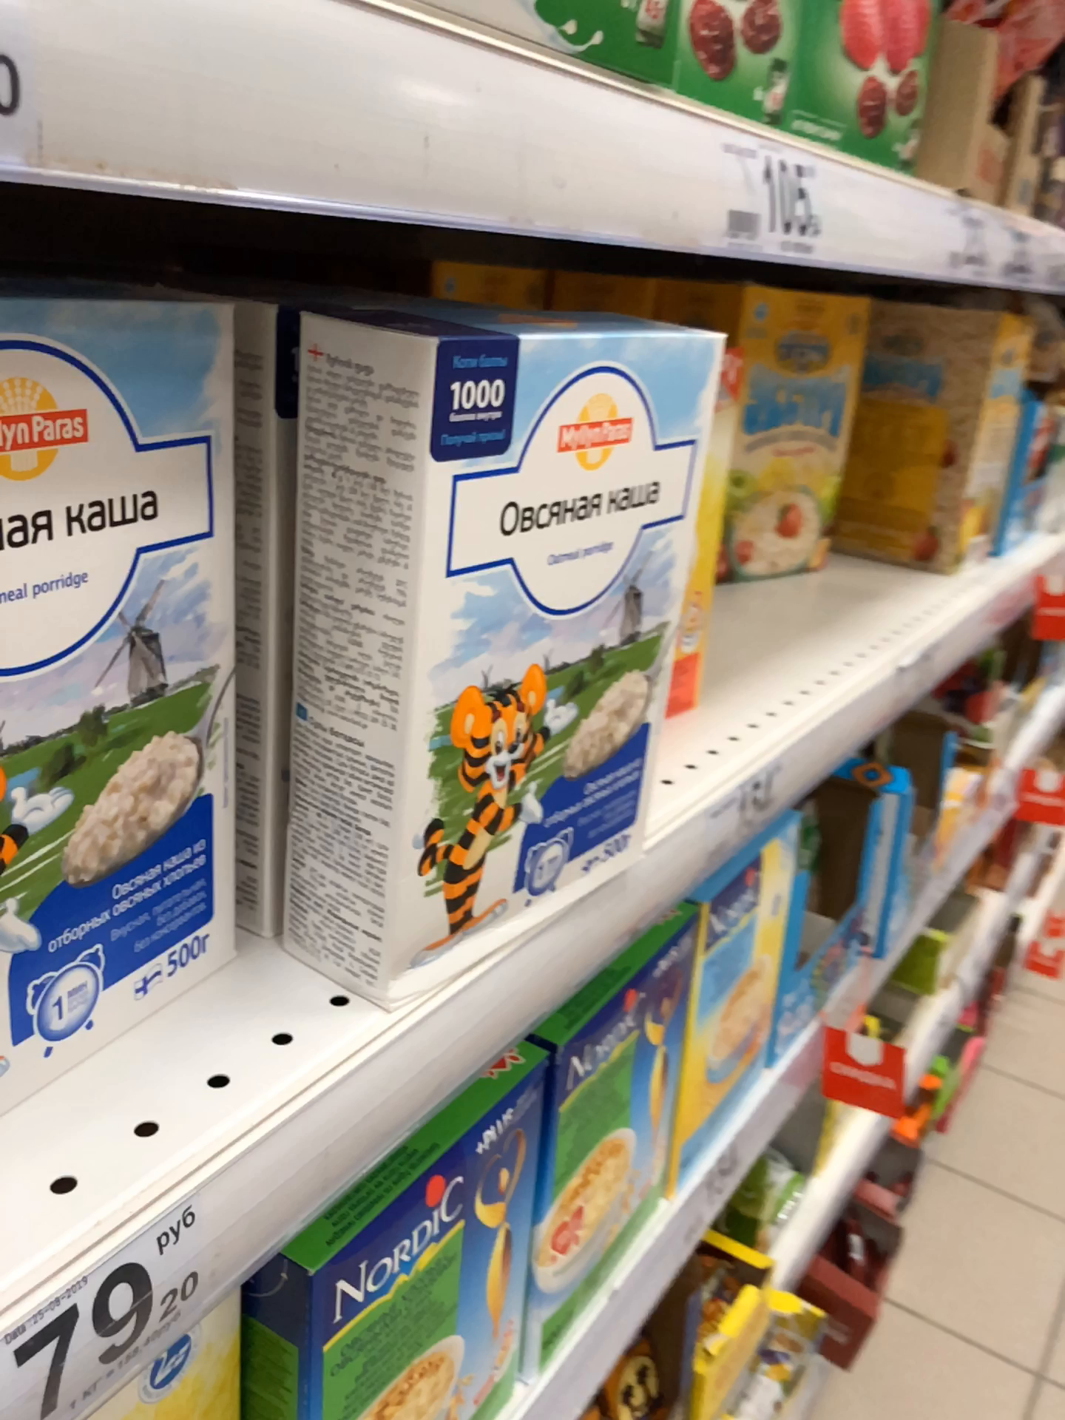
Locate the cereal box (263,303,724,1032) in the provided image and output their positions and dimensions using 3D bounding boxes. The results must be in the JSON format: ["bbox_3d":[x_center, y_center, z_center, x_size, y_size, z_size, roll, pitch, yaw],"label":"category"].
[{"bbox_3d":[-0.012,-0.022,0.399,0.050,0.209,0.150,21,25,33],"label":"cereal box"}]
